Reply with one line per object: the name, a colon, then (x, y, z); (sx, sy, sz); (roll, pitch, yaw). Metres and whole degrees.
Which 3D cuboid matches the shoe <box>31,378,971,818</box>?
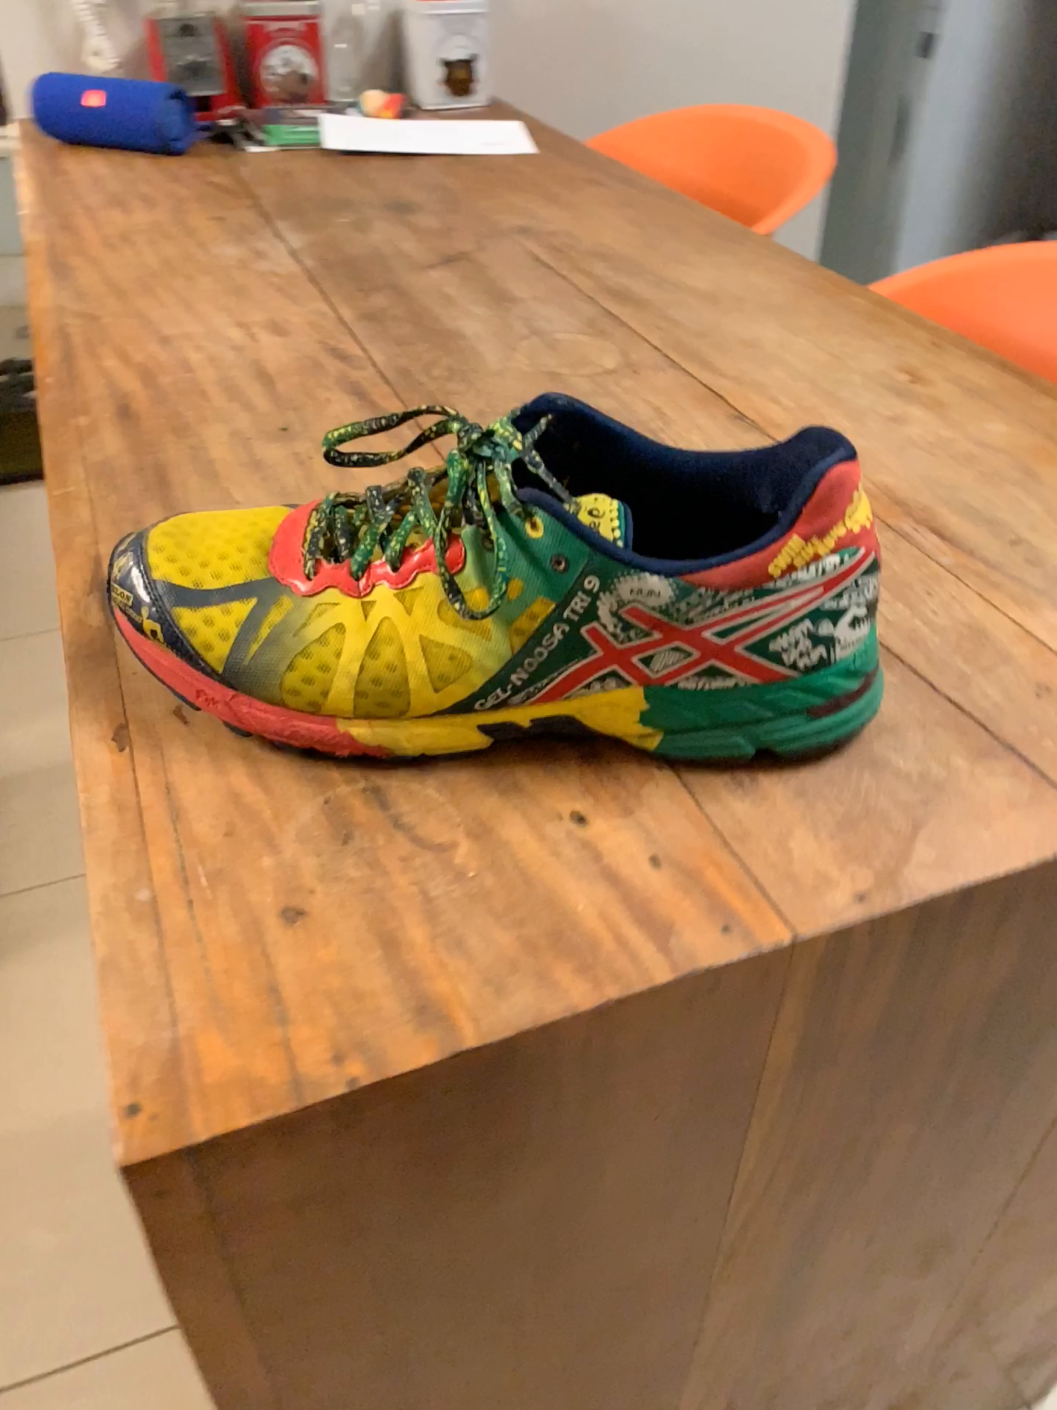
shoe: (-0.008, -0.046, 0.413); (0.295, 0.102, 0.114); (4, 39, 6)
